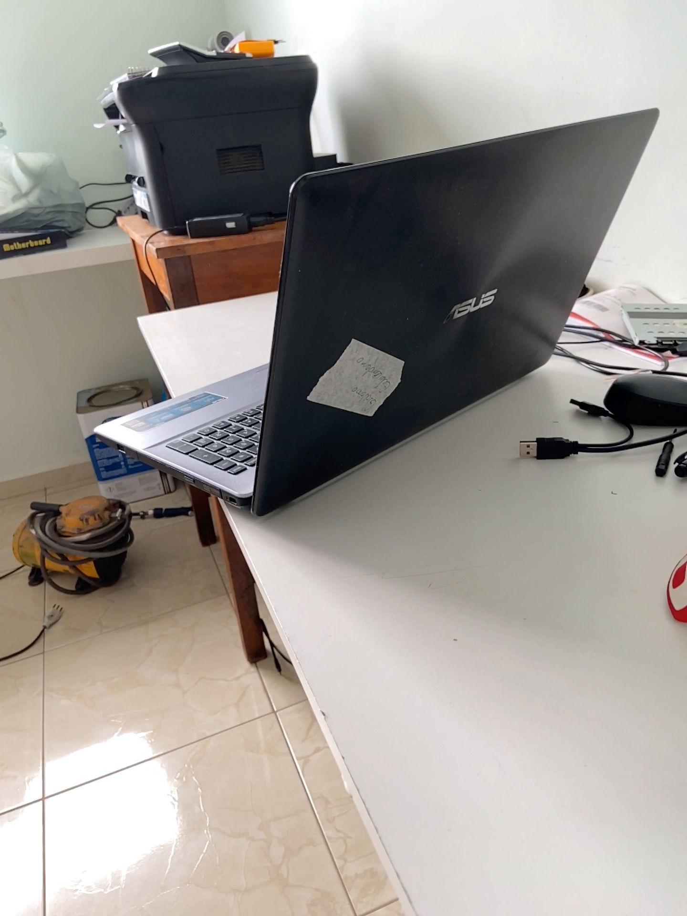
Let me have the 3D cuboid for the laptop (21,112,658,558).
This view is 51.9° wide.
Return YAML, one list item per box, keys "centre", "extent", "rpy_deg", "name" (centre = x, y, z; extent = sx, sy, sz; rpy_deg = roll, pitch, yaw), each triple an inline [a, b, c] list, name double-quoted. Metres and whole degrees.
- centre: [0.003, -0.149, 0.610]
  extent: [0.377, 0.213, 0.356]
  rpy_deg: [-27, 32, -36]
  name: "laptop"
